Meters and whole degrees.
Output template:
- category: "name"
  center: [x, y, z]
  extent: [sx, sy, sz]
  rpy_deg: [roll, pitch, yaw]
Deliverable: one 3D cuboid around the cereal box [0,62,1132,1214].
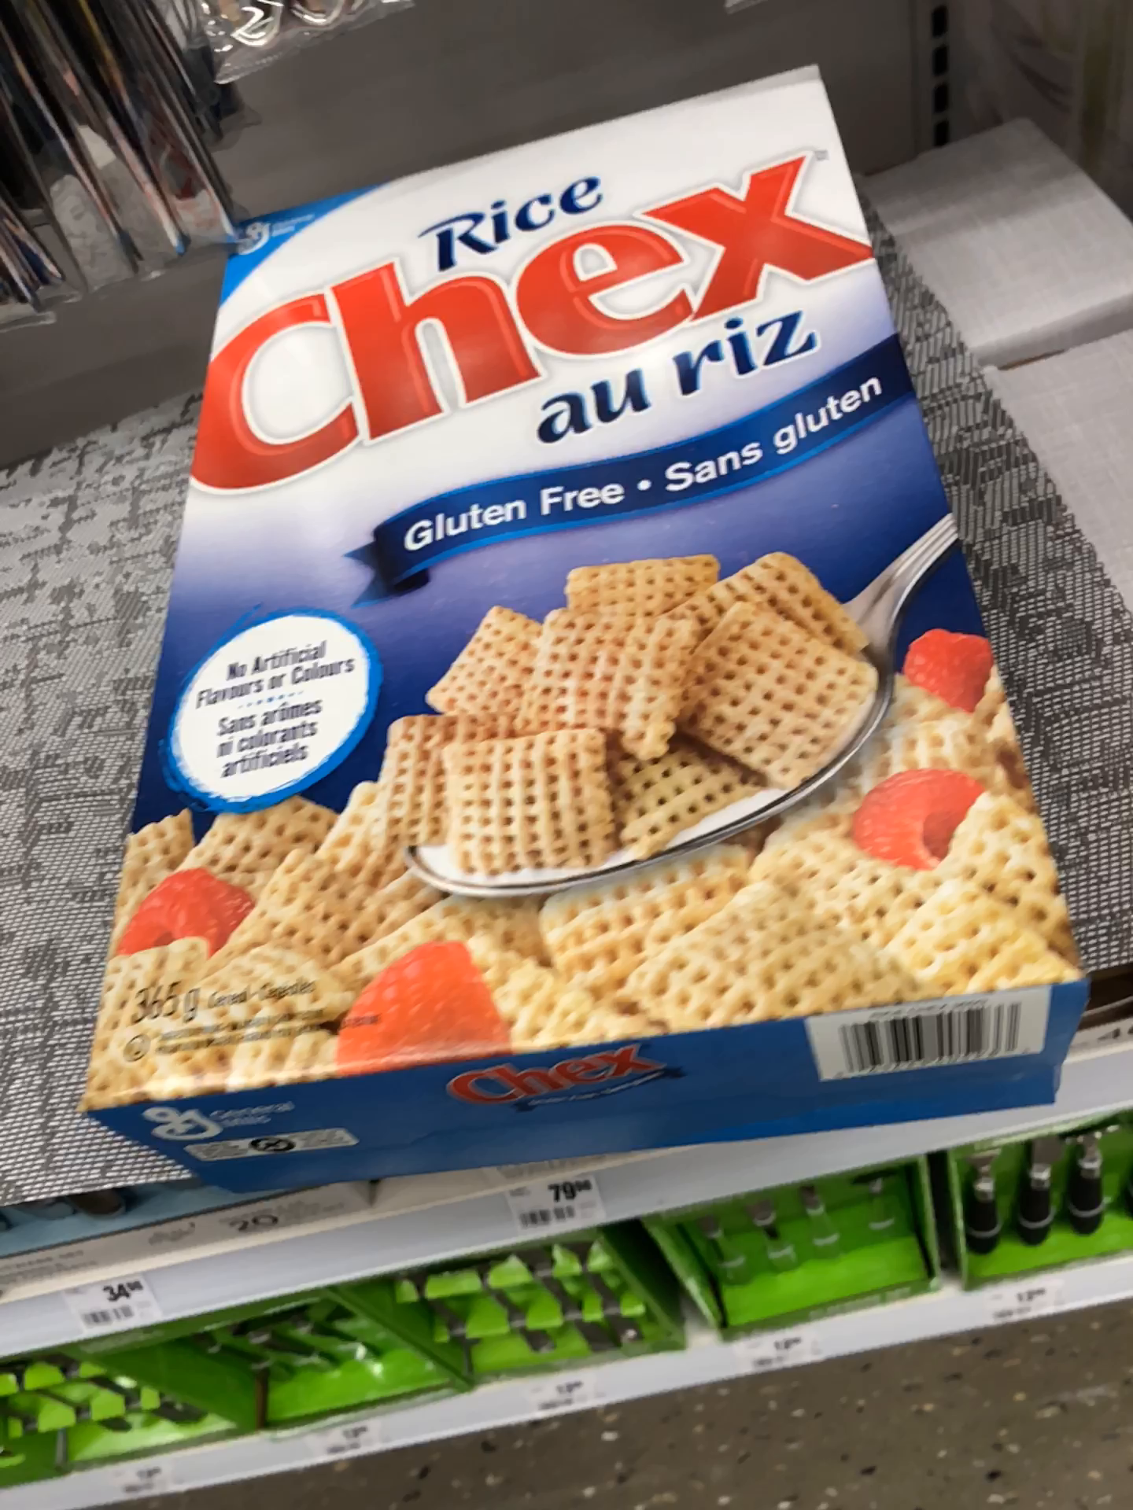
- category: "cereal box"
  center: [-0.007, -0.050, 0.341]
  extent: [0.210, 0.070, 0.301]
  rpy_deg: [-9, 55, 9]
